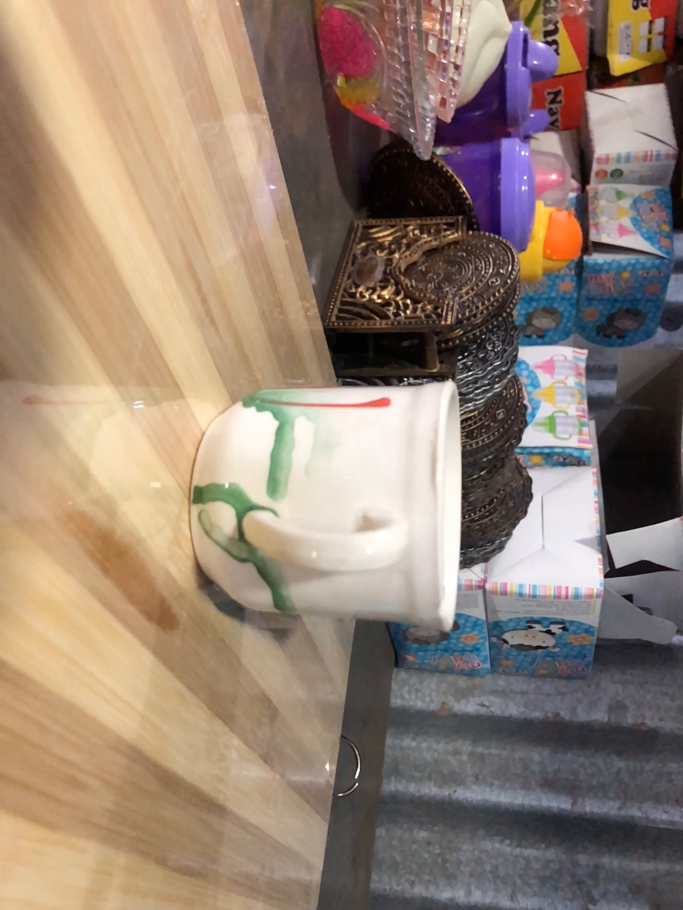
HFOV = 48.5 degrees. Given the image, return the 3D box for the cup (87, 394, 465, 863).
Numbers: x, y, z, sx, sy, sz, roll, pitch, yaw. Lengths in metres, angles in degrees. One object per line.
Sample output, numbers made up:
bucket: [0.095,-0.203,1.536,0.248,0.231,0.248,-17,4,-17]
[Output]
cup: [-0.006,0.034,0.199,0.090,0.070,0.080,-58,149,-69]
